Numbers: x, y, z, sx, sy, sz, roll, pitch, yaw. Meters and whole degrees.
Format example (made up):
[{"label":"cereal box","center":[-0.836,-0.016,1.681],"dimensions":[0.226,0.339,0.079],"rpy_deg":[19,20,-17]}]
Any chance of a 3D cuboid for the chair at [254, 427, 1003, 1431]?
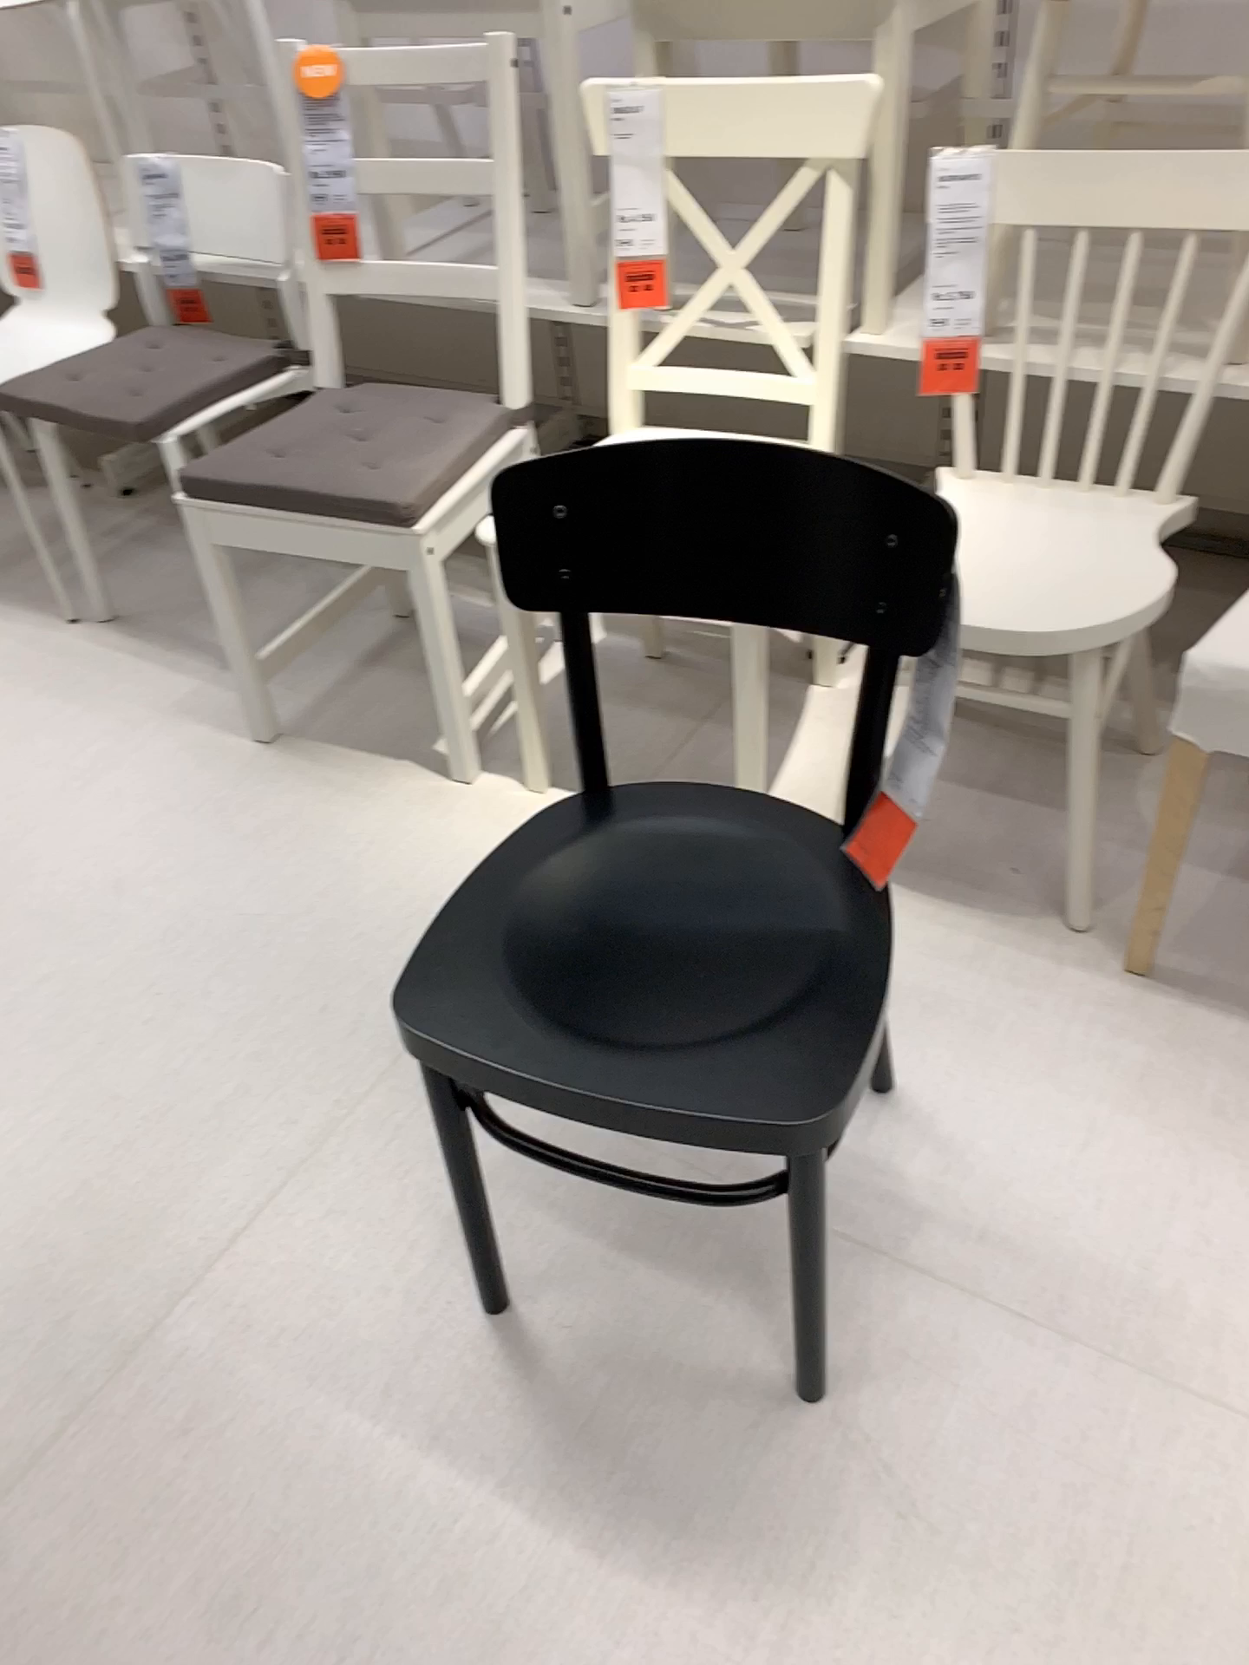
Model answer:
[{"label":"chair","center":[0.068,0.096,1.192],"dimensions":[0.431,0.767,0.471],"rpy_deg":[9,43,18]}]
